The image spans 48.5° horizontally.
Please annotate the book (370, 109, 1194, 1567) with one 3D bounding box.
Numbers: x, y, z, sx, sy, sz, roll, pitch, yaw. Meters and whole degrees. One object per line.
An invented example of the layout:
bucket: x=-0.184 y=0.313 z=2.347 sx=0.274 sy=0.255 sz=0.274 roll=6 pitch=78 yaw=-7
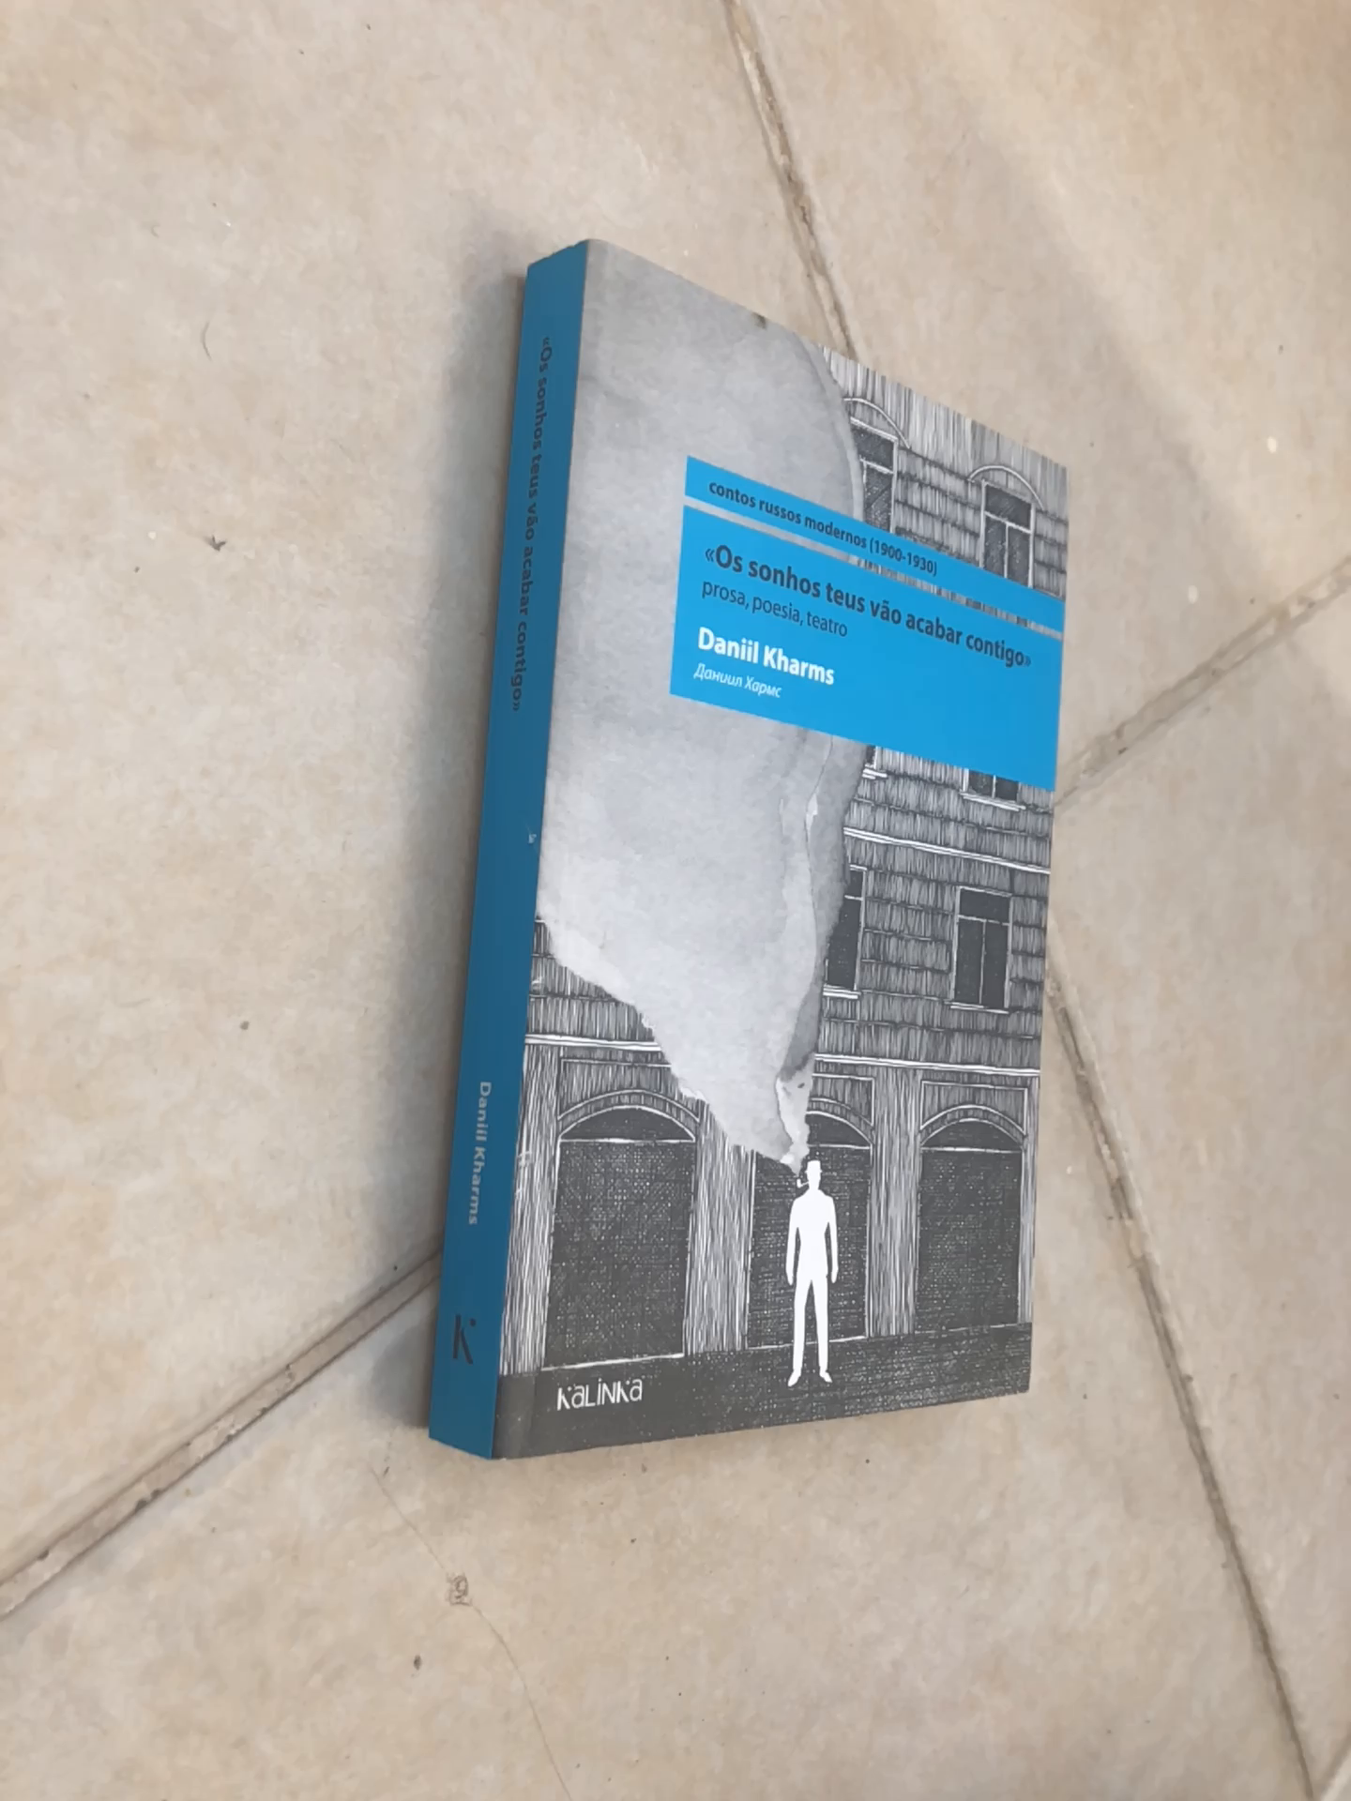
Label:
book: x=0.025 y=-0.004 z=0.226 sx=0.121 sy=0.040 sz=0.170 roll=9 pitch=82 yaw=-39
